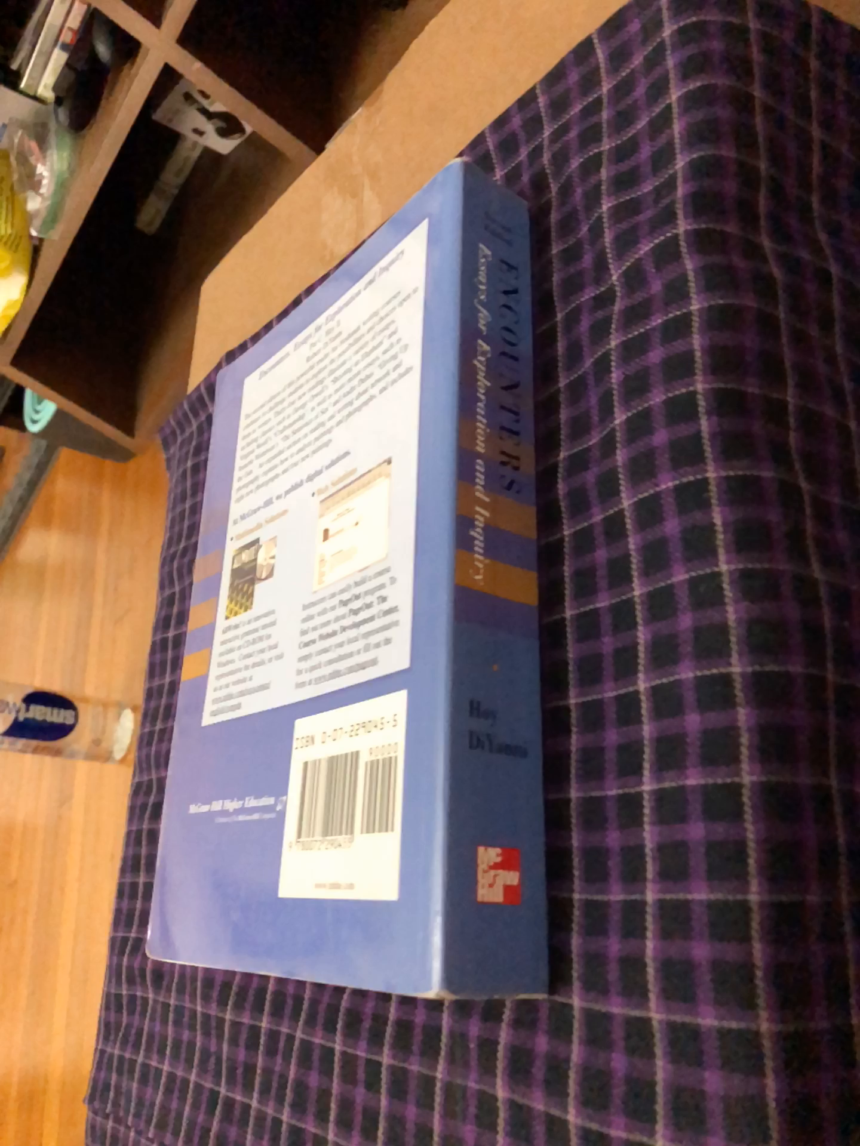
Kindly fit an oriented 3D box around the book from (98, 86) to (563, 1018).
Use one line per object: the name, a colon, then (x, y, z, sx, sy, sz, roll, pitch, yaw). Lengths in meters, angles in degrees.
book: (-0.038, 0.003, 0.306, 0.181, 0.040, 0.240, -24, 57, 49)
